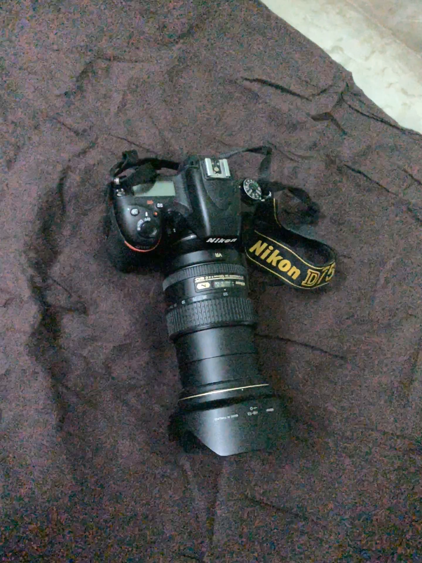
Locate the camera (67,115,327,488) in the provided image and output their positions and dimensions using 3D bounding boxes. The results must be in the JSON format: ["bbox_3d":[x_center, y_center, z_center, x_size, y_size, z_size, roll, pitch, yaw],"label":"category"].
[{"bbox_3d":[-0.025,0.008,0.391,0.161,0.100,0.278,-6,76,-24],"label":"camera"}]
